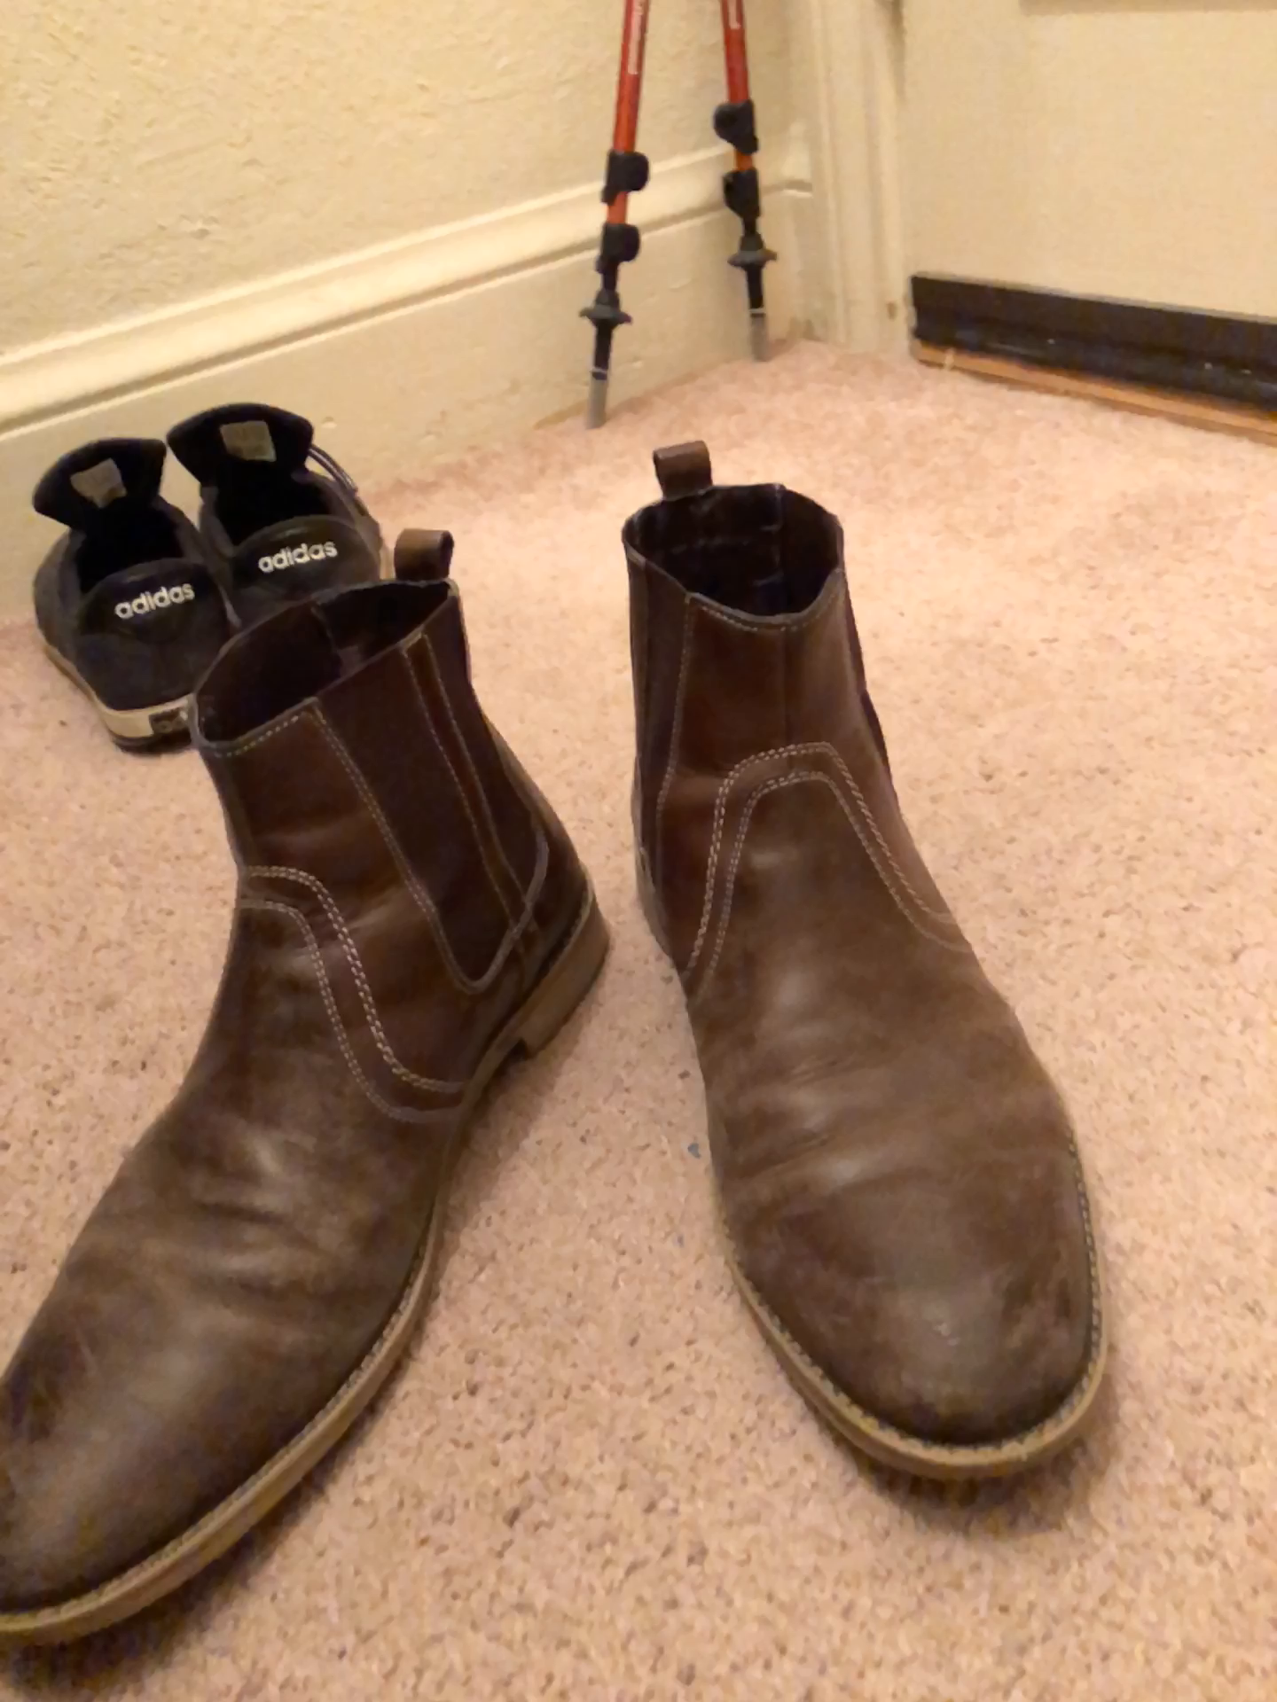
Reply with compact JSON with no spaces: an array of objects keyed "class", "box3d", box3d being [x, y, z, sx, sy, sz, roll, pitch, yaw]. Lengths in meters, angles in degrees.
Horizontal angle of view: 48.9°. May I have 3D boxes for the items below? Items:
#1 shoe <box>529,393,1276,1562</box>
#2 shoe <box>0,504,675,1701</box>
[{"class":"shoe","box3d":[0.050,0.003,0.398,0.118,0.158,0.299,-11,34,0]},{"class":"shoe","box3d":[-0.112,0.037,0.396,0.119,0.158,0.299,7,38,25]}]
